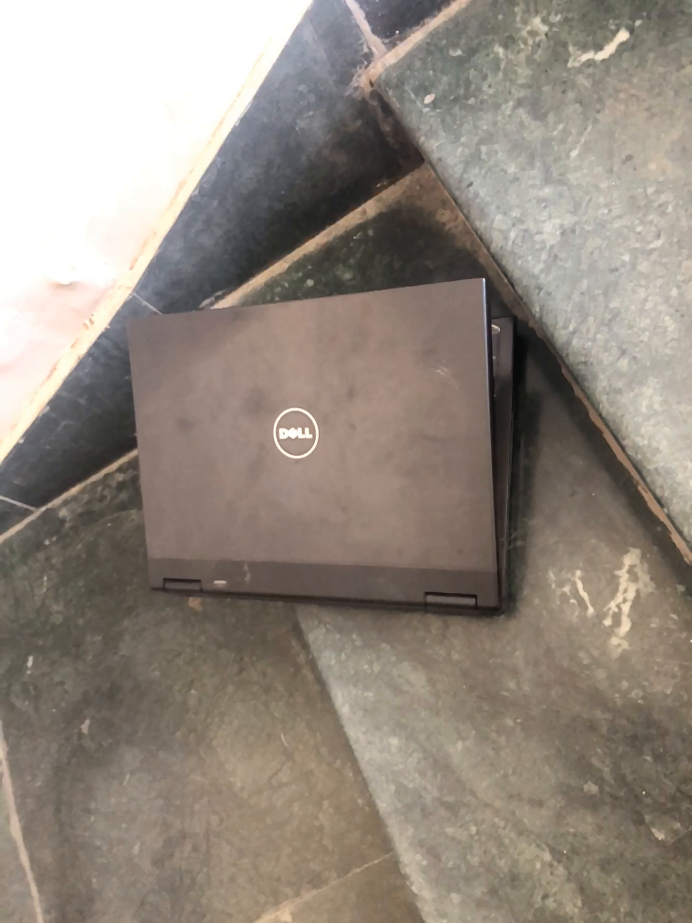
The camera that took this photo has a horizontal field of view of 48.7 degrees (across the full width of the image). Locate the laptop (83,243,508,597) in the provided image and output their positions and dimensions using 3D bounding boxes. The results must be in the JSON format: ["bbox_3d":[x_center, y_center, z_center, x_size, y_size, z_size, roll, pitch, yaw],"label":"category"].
[{"bbox_3d":[-0.036,-0.026,0.599,0.302,0.095,0.232,-1,73,23],"label":"laptop"}]
